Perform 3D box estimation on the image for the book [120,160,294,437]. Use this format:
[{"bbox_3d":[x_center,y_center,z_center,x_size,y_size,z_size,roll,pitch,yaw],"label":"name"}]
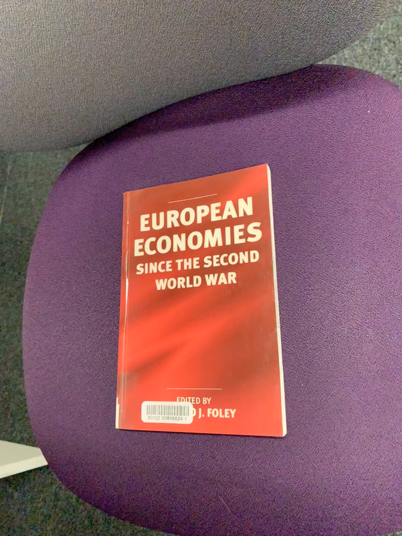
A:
[{"bbox_3d":[0.000,0.025,0.370,0.149,0.020,0.225,-7,75,23],"label":"book"}]
